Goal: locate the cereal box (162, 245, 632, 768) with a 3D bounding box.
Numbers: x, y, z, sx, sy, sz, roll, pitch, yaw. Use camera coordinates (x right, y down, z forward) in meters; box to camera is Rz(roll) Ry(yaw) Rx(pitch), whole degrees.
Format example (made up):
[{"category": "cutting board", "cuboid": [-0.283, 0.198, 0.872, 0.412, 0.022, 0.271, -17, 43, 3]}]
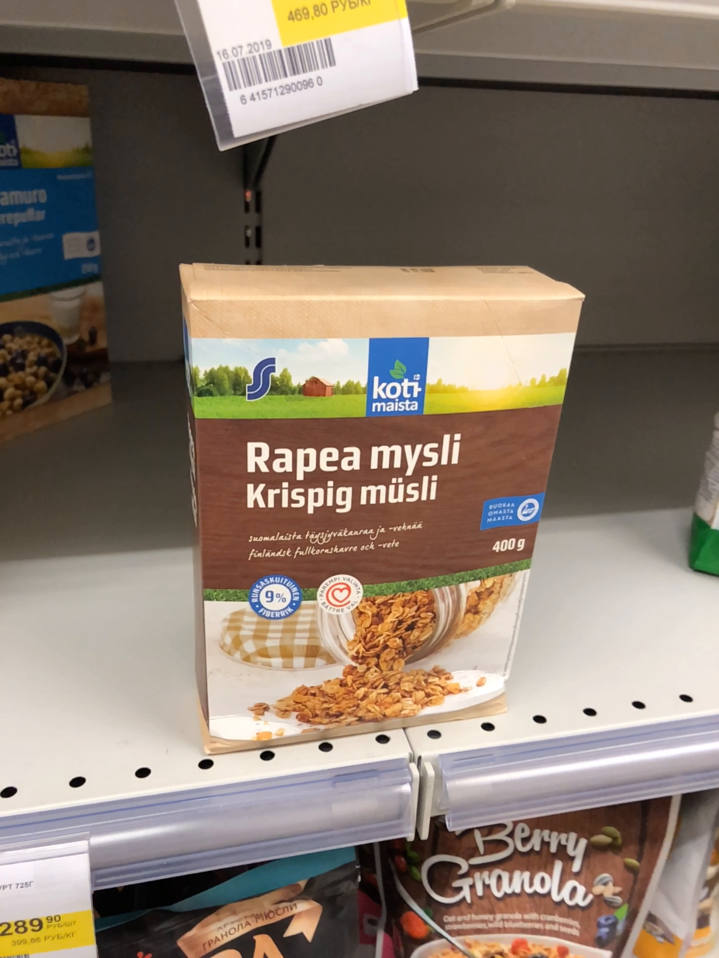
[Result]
[{"category": "cereal box", "cuboid": [0.007, 0.011, 0.309, 0.150, 0.189, 0.050, -4, 27, -14]}]
